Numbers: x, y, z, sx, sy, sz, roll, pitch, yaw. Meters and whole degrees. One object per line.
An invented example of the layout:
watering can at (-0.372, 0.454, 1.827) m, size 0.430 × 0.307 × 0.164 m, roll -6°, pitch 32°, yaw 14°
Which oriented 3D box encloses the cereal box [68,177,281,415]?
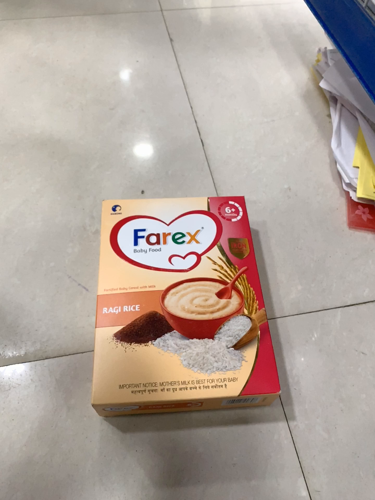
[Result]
cereal box at (-0.016, 0.030, 0.343) m, size 0.150 × 0.050 × 0.200 m, roll 0°, pitch 59°, yaw -8°
